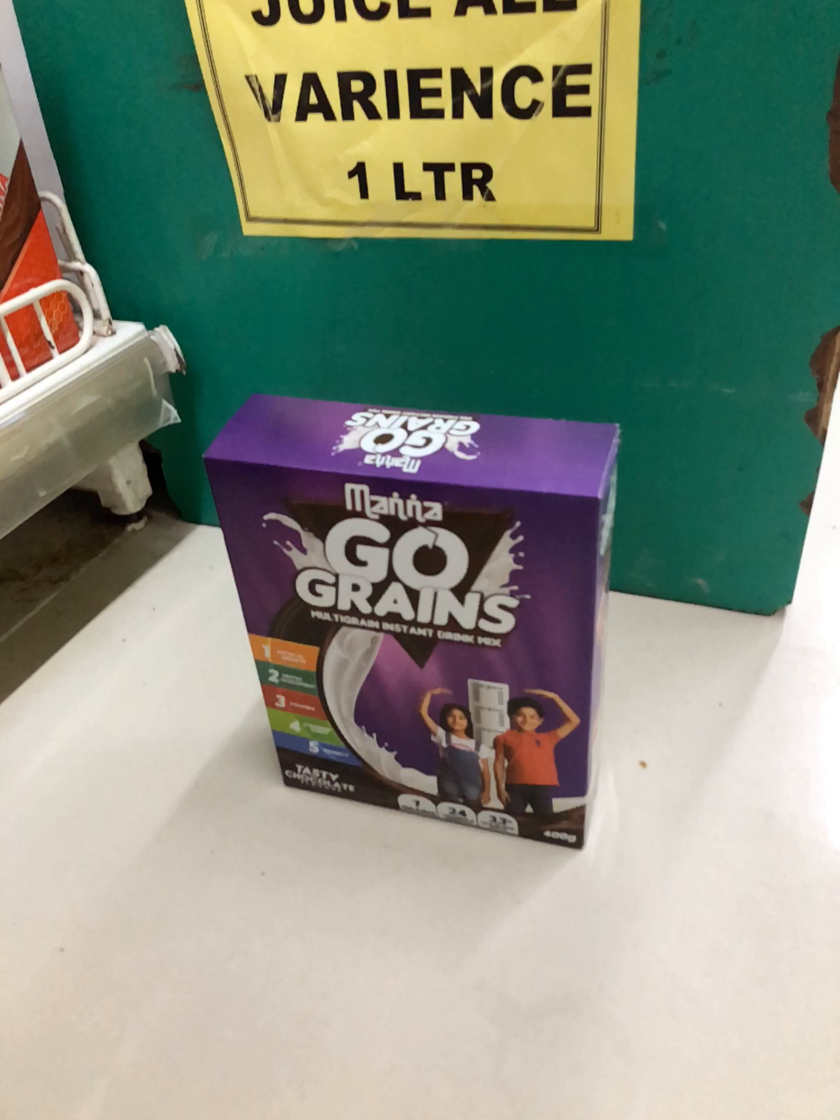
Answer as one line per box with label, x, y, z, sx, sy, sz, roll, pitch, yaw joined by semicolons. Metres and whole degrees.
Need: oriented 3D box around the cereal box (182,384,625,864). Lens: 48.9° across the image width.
cereal box;-0.001;0.031;0.384;0.150;0.189;0.050;8;37;16
